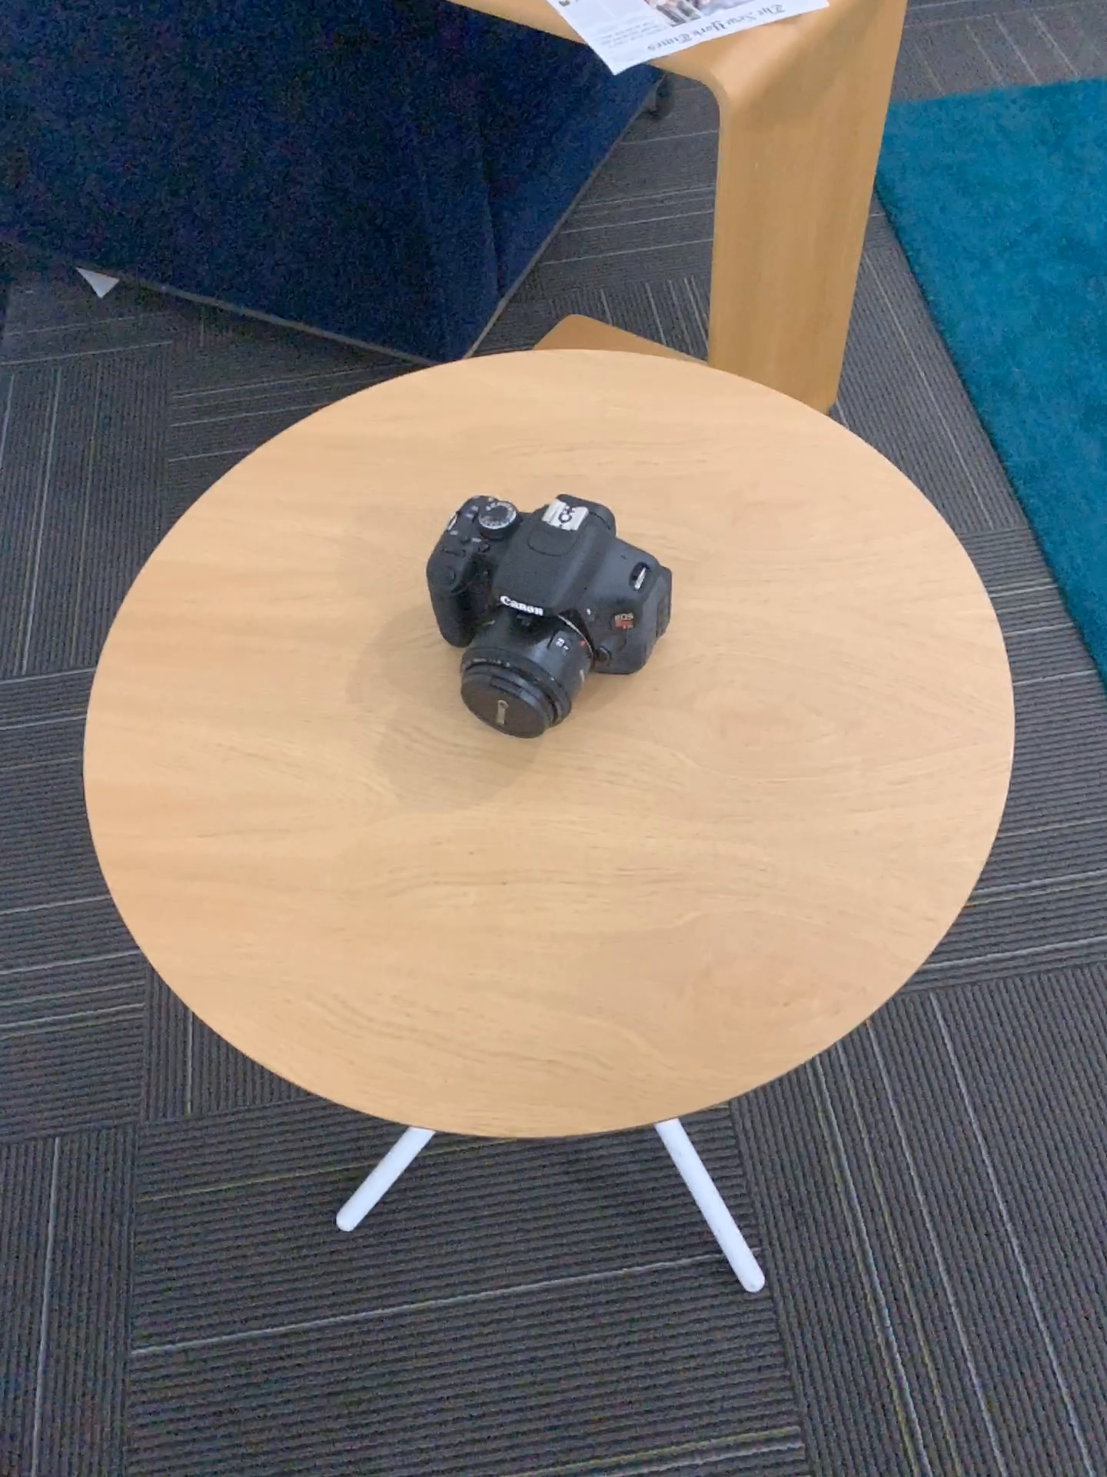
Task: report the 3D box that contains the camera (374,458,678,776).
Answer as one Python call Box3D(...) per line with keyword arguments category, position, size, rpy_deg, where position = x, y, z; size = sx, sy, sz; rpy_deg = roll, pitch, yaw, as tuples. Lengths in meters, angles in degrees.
Box3D(category="camera", position=(-0.011, -0.069, 0.625), size=(0.120, 0.080, 0.125), rpy_deg=(18, 61, 14))
